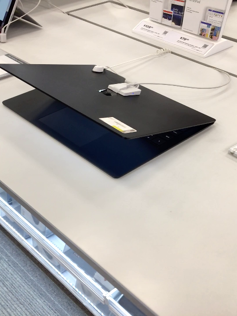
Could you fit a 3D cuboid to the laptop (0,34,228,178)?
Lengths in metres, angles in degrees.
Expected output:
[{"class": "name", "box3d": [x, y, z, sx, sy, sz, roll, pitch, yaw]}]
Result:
[{"class": "laptop", "box3d": [-0.026, -0.113, 0.560, 0.225, 0.085, 0.301, -36, 55, -28]}]
